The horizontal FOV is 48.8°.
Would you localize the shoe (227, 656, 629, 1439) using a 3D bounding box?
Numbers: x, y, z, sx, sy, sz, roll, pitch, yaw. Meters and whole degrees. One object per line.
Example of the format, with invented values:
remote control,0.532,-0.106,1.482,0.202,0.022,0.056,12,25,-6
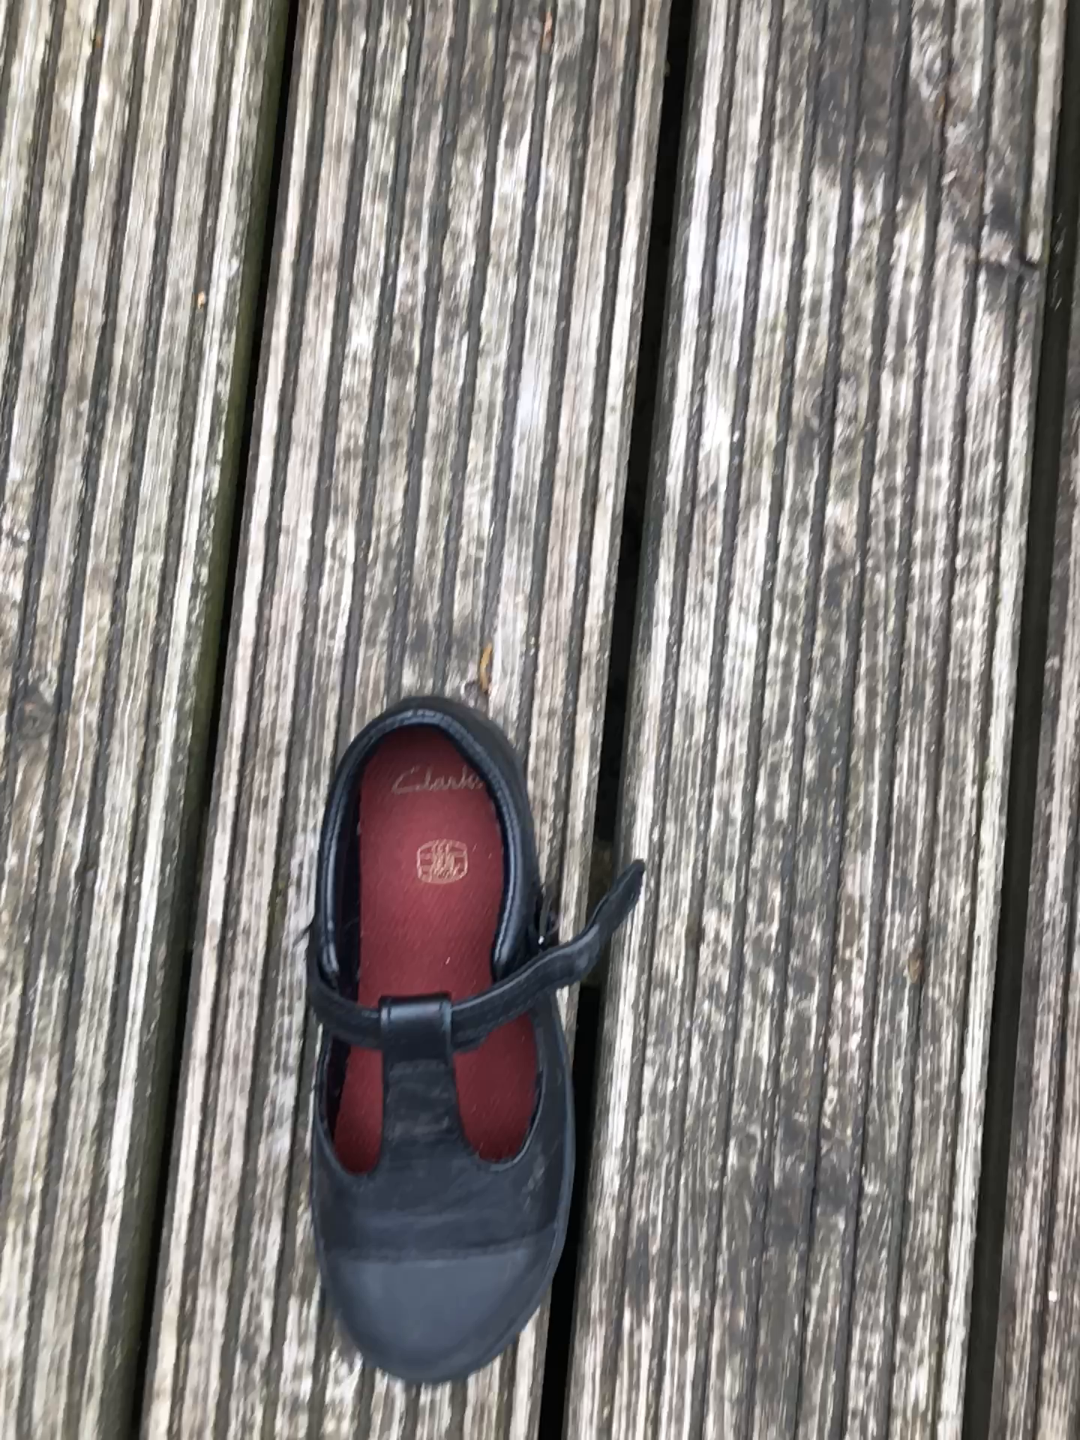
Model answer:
shoe,-0.025,0.086,0.316,0.080,0.080,0.193,4,87,0
